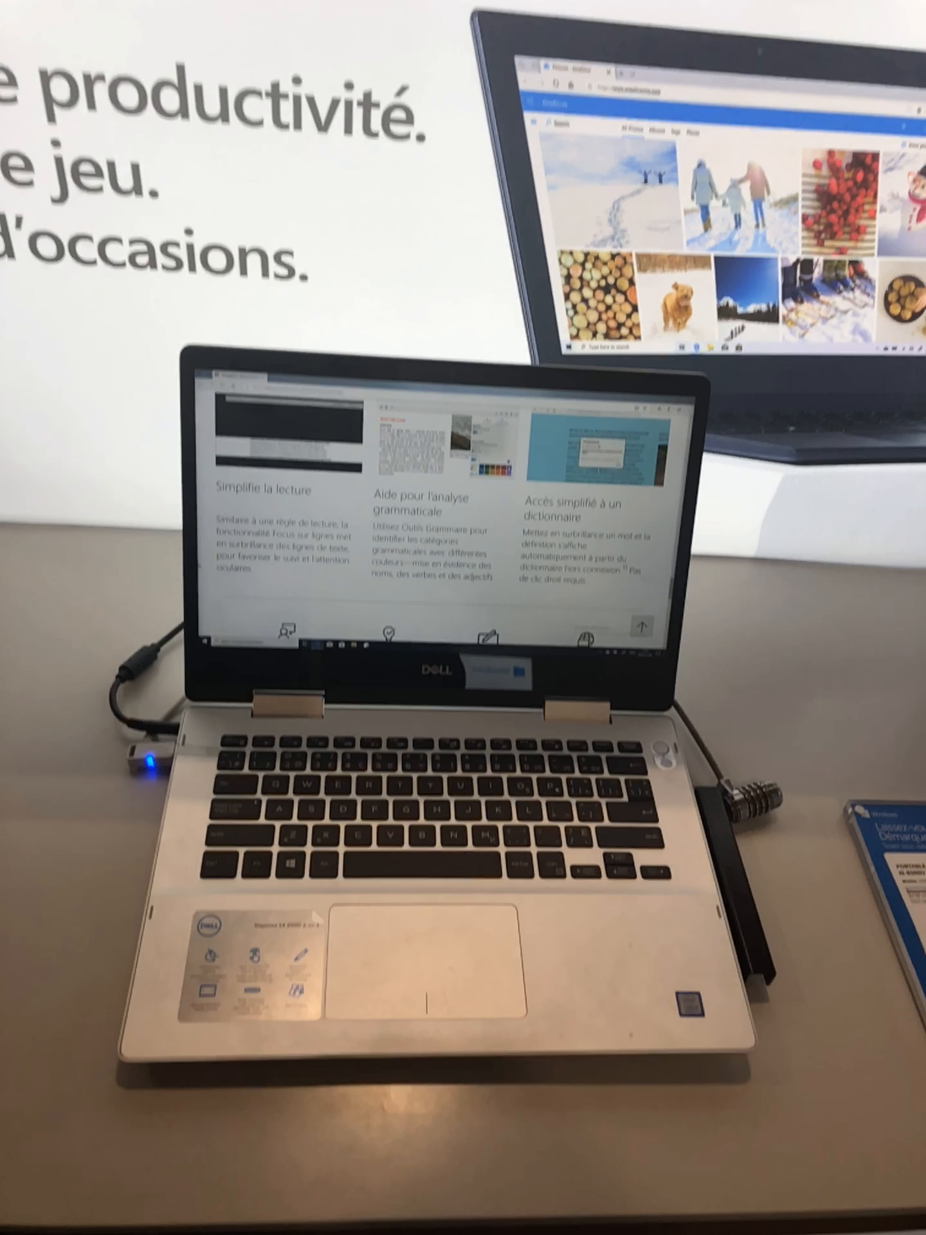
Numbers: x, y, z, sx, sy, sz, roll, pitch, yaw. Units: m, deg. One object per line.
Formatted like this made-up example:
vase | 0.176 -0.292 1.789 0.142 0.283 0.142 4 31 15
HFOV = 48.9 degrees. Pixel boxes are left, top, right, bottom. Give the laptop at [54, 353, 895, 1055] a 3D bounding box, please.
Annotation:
laptop | -0.008 0.032 0.569 0.316 0.193 0.338 2 44 -6
